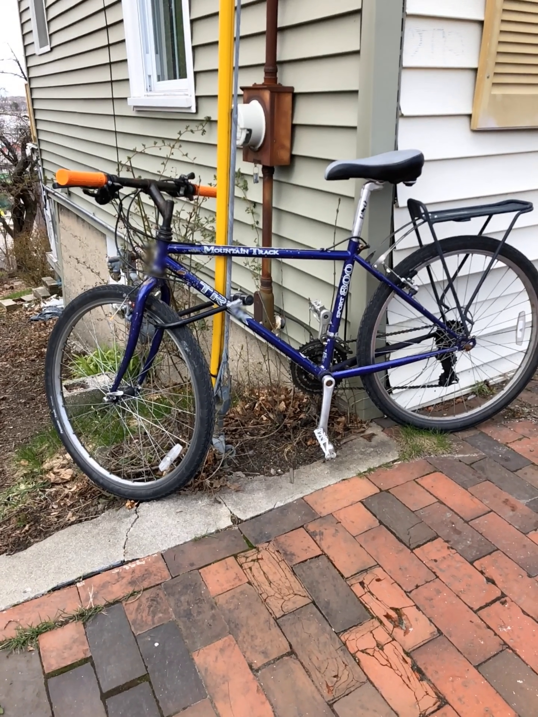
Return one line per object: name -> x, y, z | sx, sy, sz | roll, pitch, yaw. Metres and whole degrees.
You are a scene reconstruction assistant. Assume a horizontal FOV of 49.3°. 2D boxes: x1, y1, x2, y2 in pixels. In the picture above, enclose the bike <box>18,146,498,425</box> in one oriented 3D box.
bike -> -0.093, -0.237, 1.764 | 1.146, 0.690, 0.515 | -1, 23, 3
